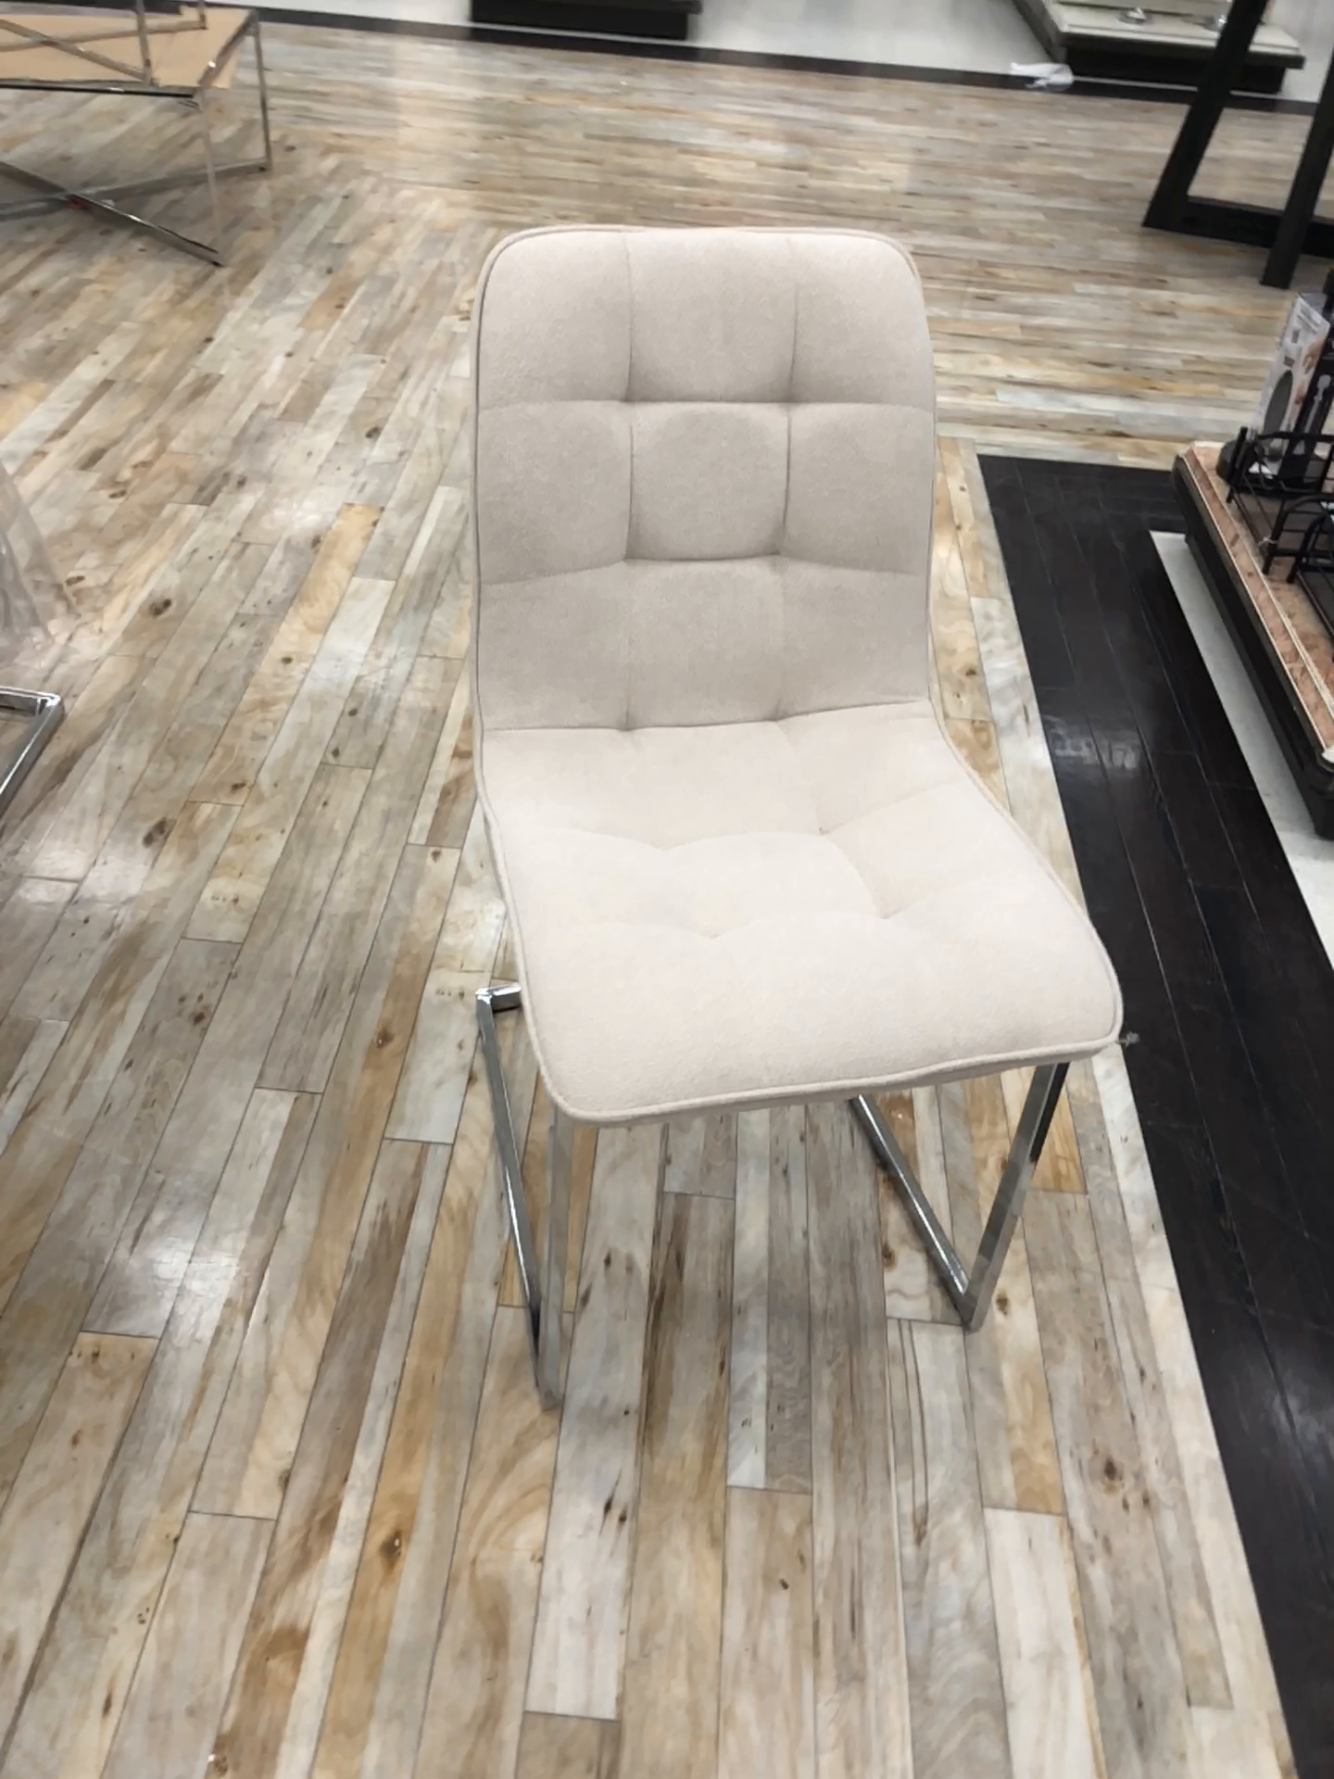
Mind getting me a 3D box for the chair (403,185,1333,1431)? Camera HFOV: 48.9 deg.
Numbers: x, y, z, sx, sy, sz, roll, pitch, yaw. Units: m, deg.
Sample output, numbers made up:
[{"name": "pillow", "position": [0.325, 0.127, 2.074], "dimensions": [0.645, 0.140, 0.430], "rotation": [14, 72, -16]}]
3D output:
[{"name": "chair", "position": [0.067, -0.071, 1.259], "dimensions": [0.490, 0.836, 0.592], "rotation": [-5, 41, -13]}]
